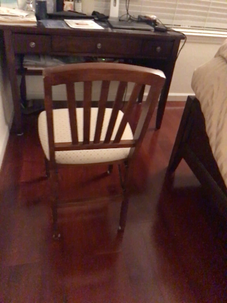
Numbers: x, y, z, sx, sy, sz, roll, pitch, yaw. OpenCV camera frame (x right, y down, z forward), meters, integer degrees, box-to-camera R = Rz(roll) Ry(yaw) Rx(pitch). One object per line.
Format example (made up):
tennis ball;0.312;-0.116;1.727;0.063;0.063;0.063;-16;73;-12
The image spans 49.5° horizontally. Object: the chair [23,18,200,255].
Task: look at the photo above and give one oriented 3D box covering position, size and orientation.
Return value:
chair;-0.106;-0.100;1.258;0.531;0.893;0.725;-3;36;-13
